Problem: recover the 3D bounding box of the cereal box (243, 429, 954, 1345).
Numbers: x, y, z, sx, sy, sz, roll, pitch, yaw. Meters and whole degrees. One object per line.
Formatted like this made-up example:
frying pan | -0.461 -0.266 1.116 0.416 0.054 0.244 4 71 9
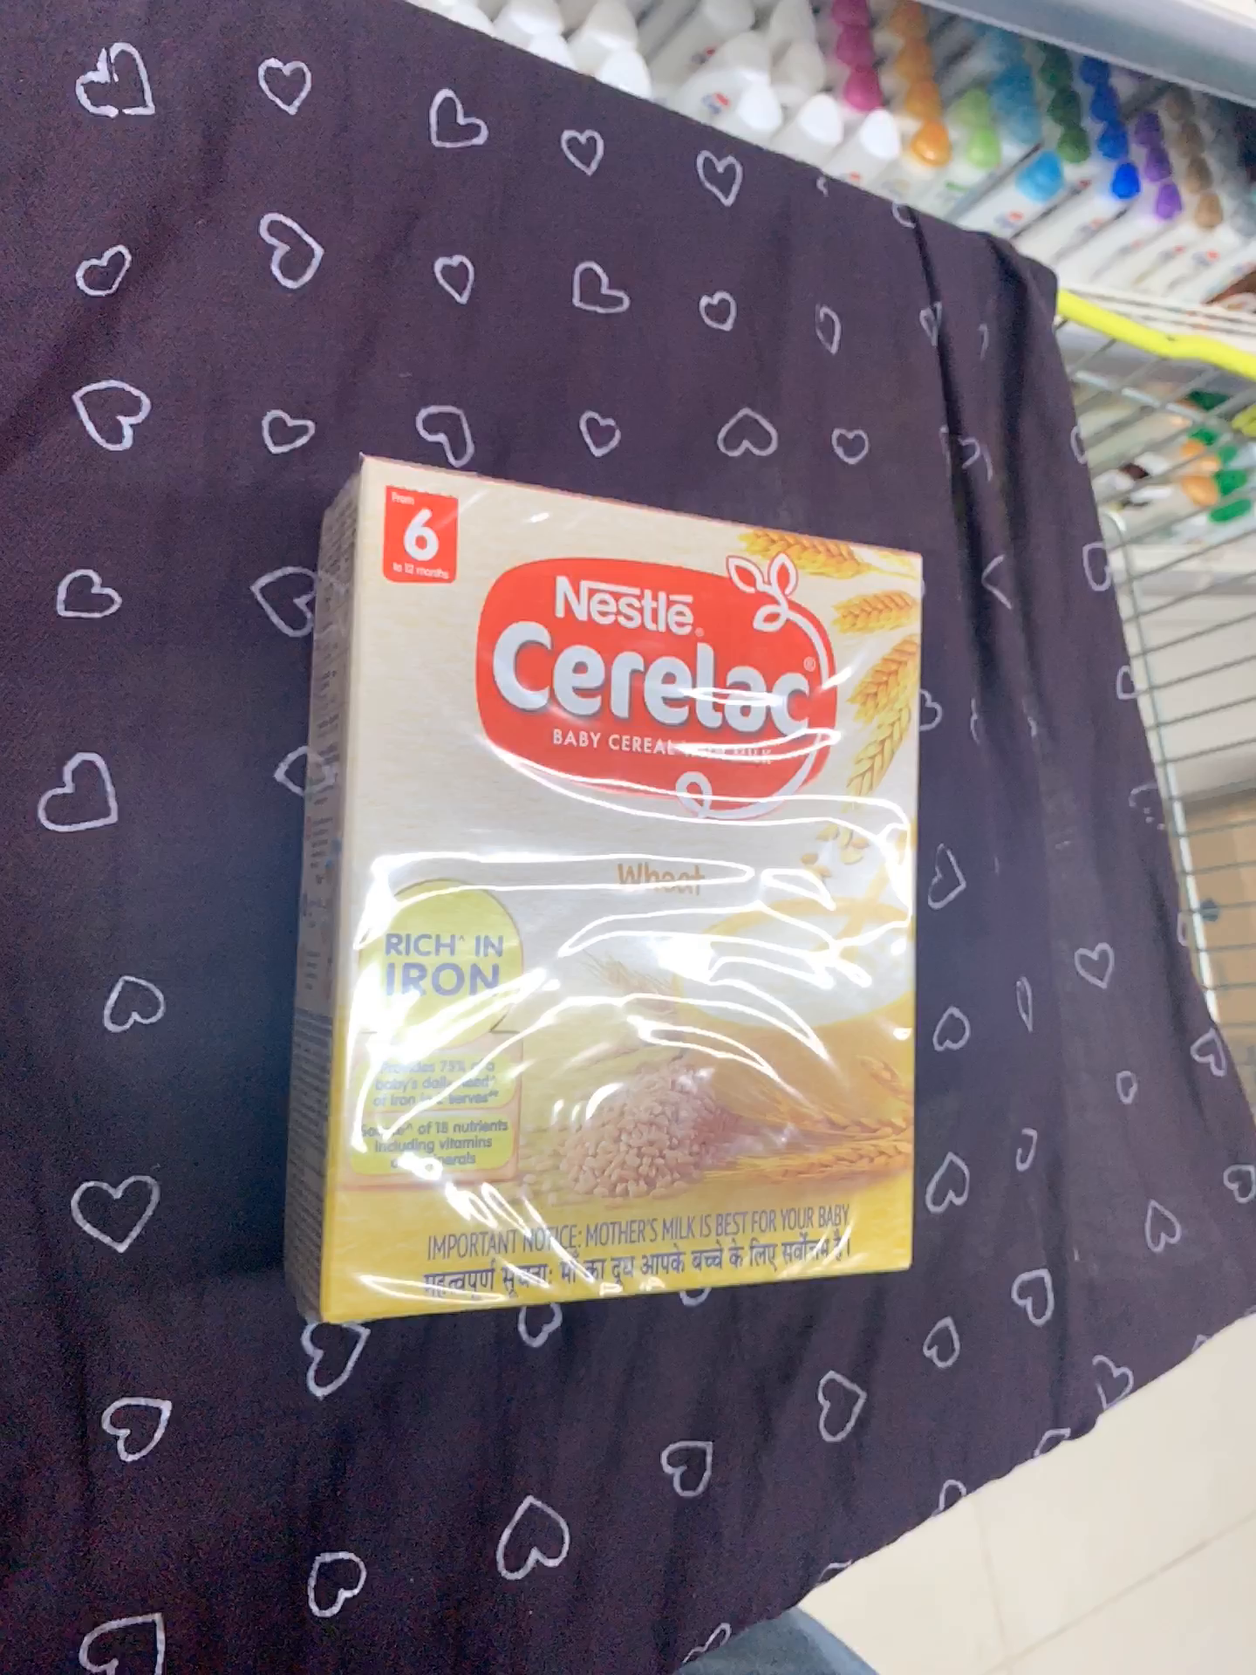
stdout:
cereal box | -0.002 0.012 0.275 0.140 0.040 0.160 4 86 -24
